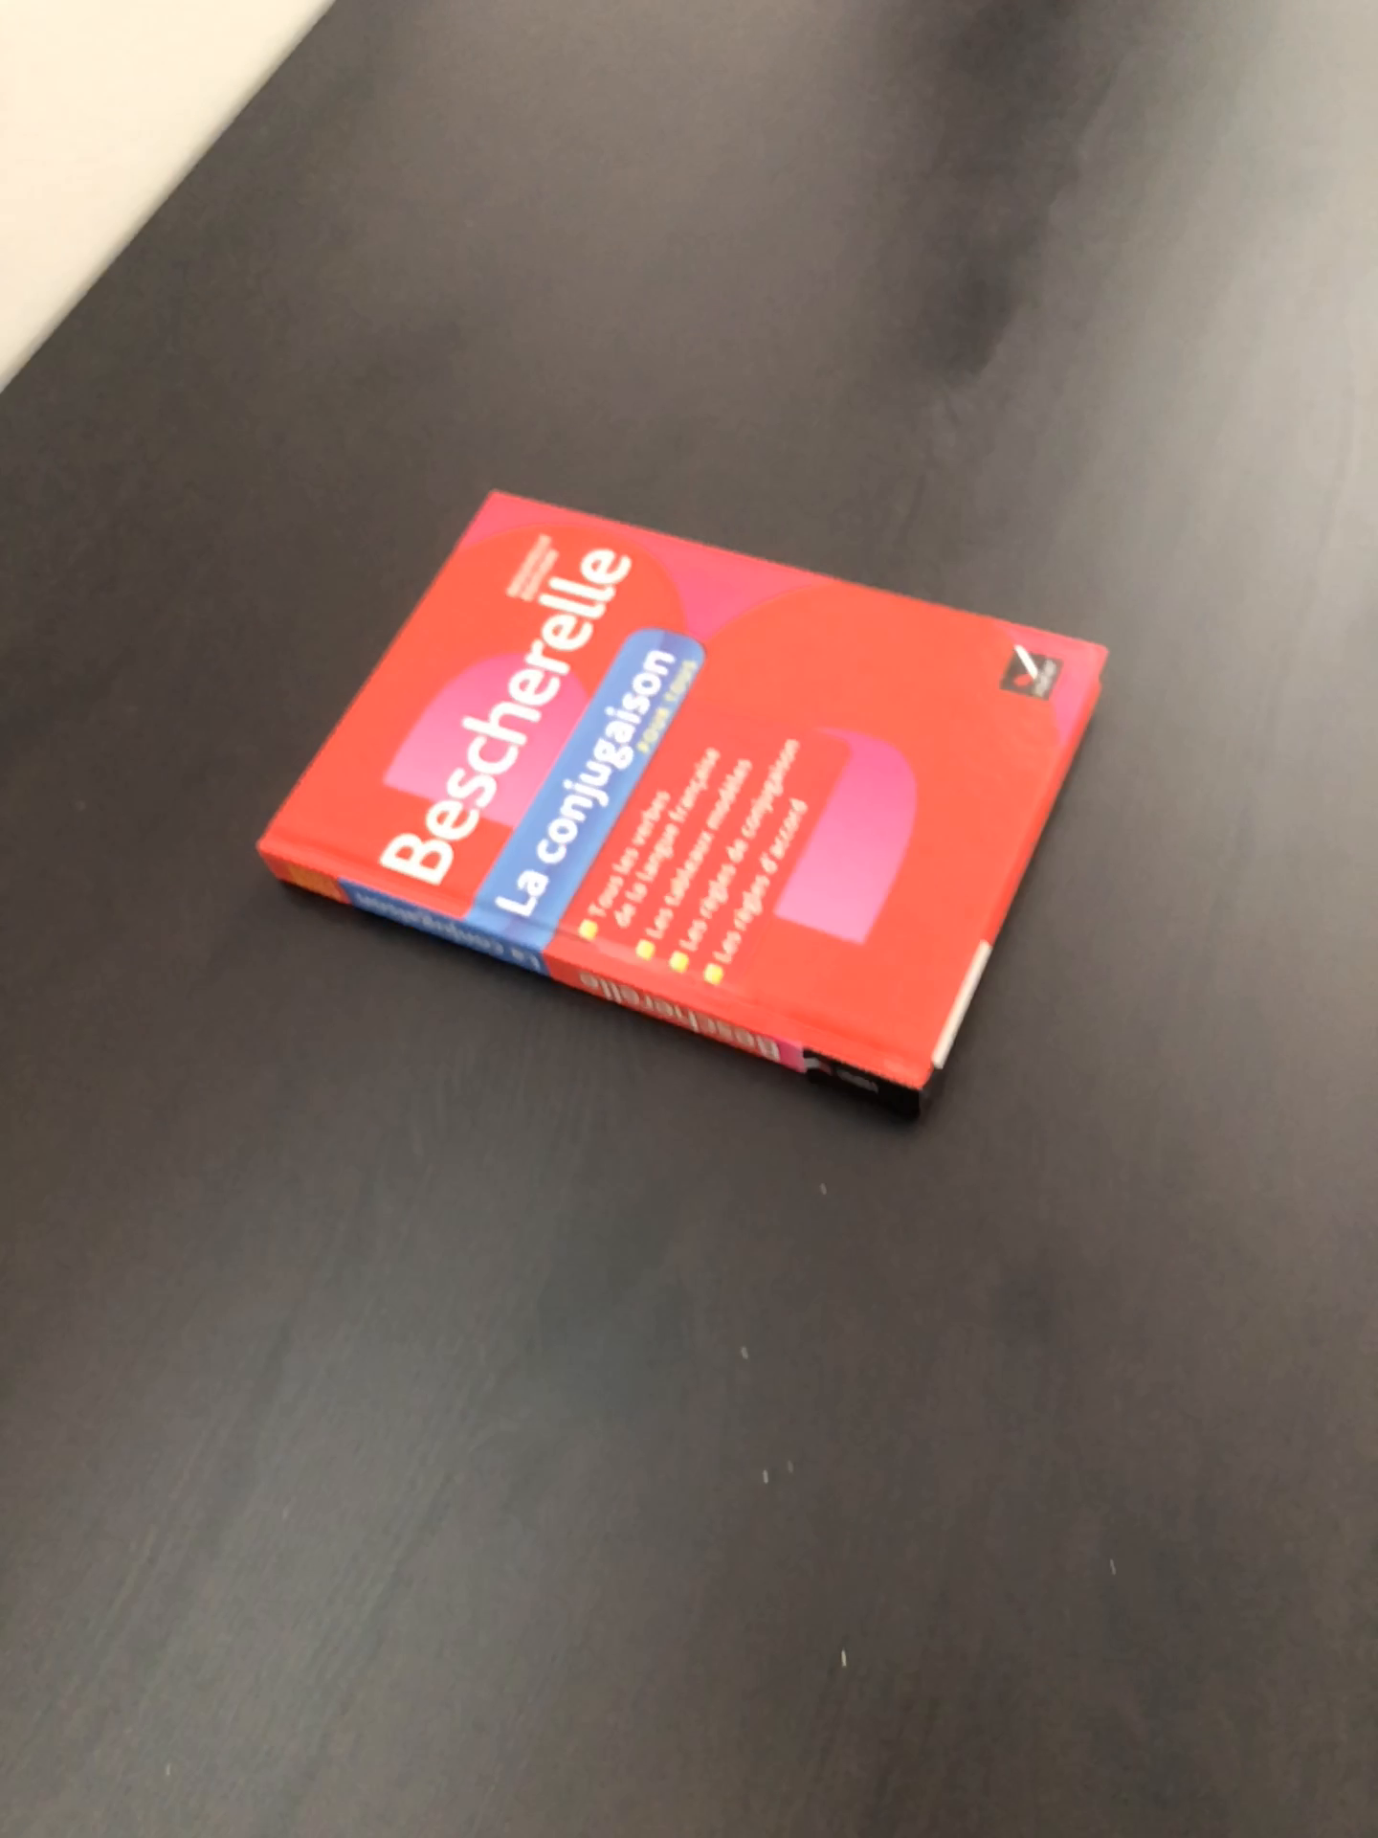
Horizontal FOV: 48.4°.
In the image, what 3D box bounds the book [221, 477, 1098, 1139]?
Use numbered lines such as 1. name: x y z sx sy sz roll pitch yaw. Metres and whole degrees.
1. book: -0.008 -0.043 0.437 0.203 0.020 0.151 19 66 19
